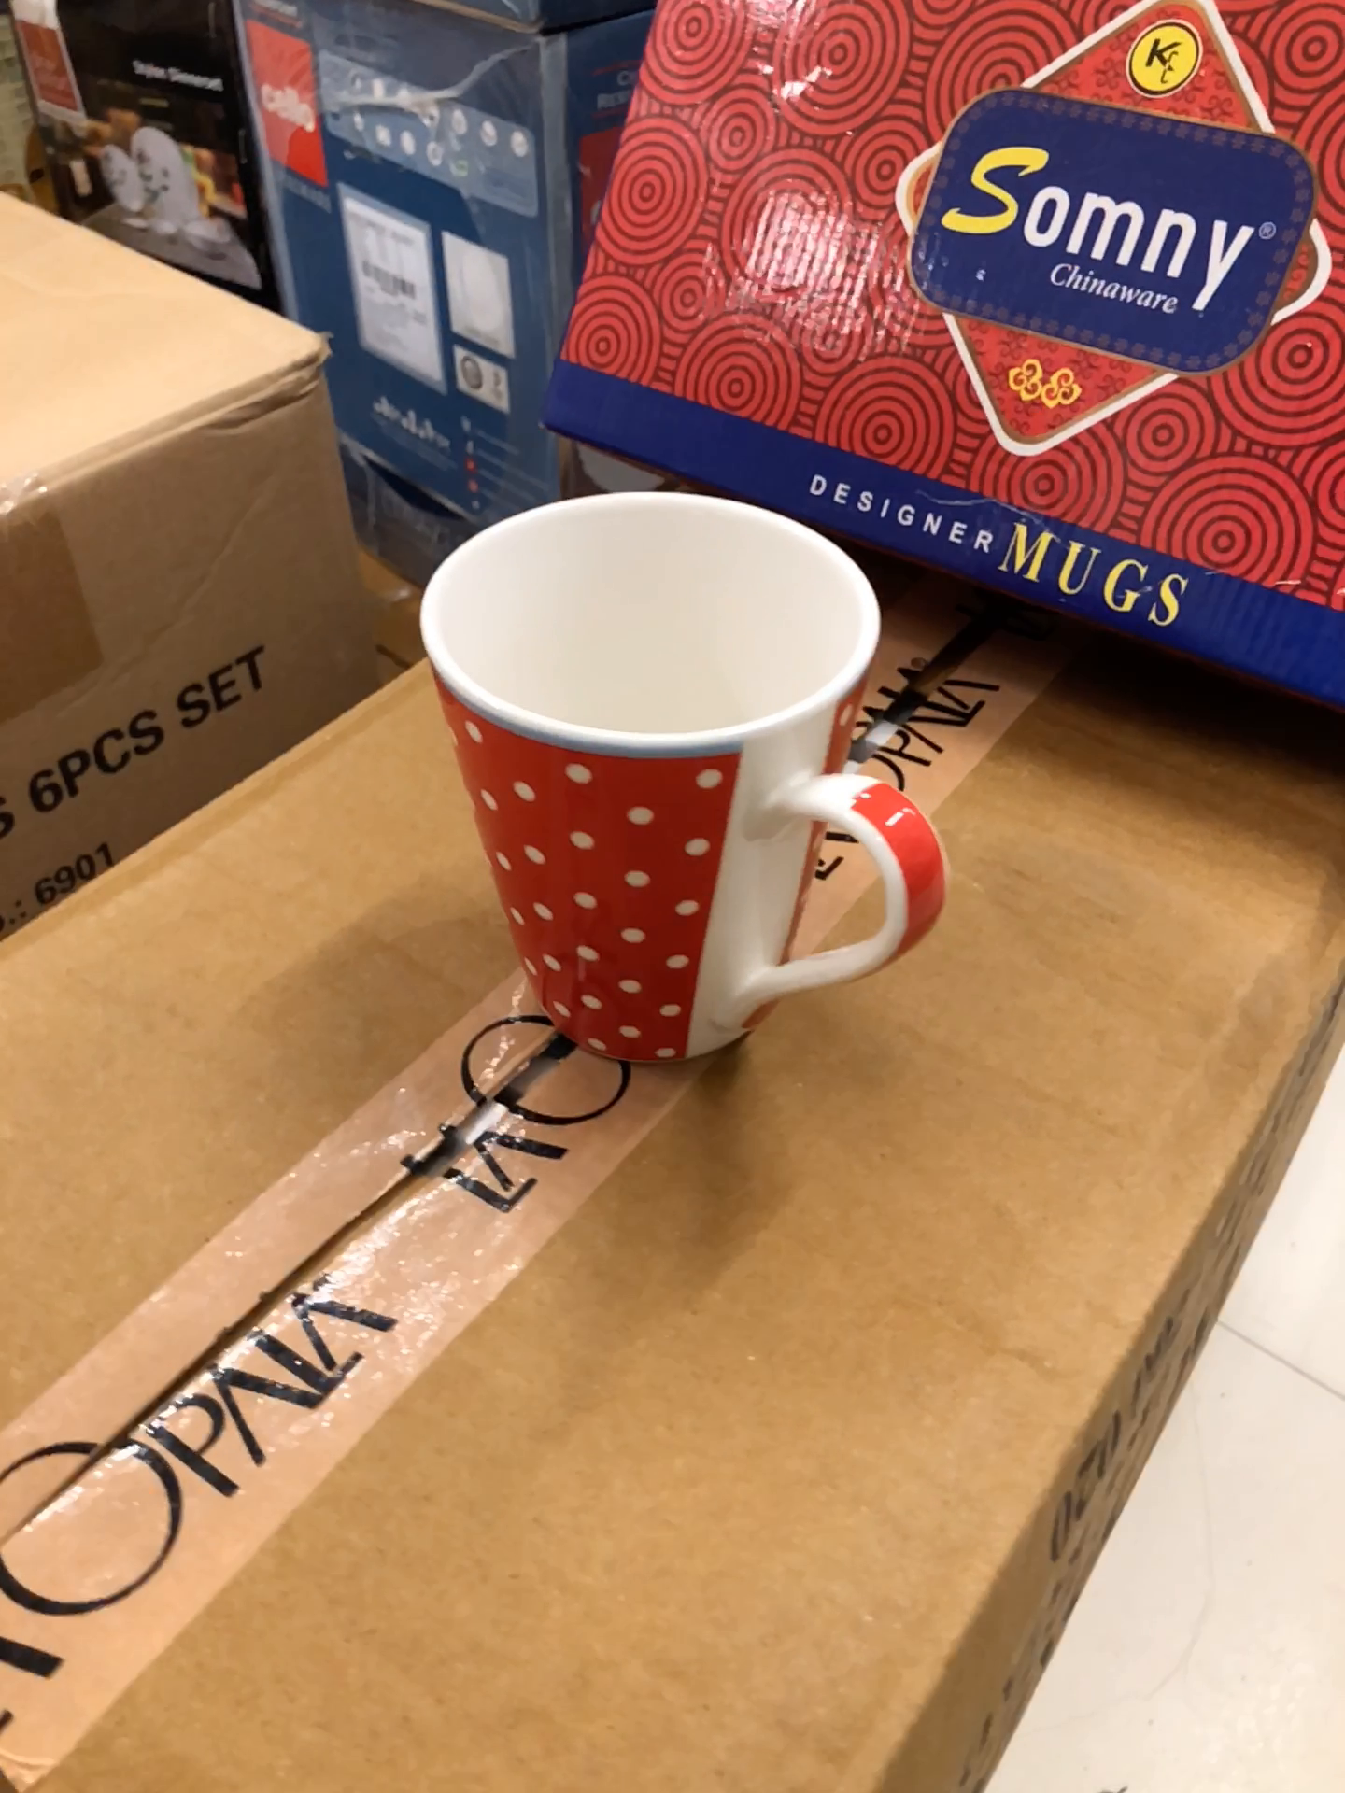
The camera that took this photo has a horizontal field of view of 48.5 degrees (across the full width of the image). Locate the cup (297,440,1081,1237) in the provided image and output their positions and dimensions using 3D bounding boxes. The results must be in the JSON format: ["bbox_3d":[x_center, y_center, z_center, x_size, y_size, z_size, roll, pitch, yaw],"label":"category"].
[{"bbox_3d":[0.001,-0.018,0.300,0.120,0.089,0.080,34,52,31],"label":"cup"}]
